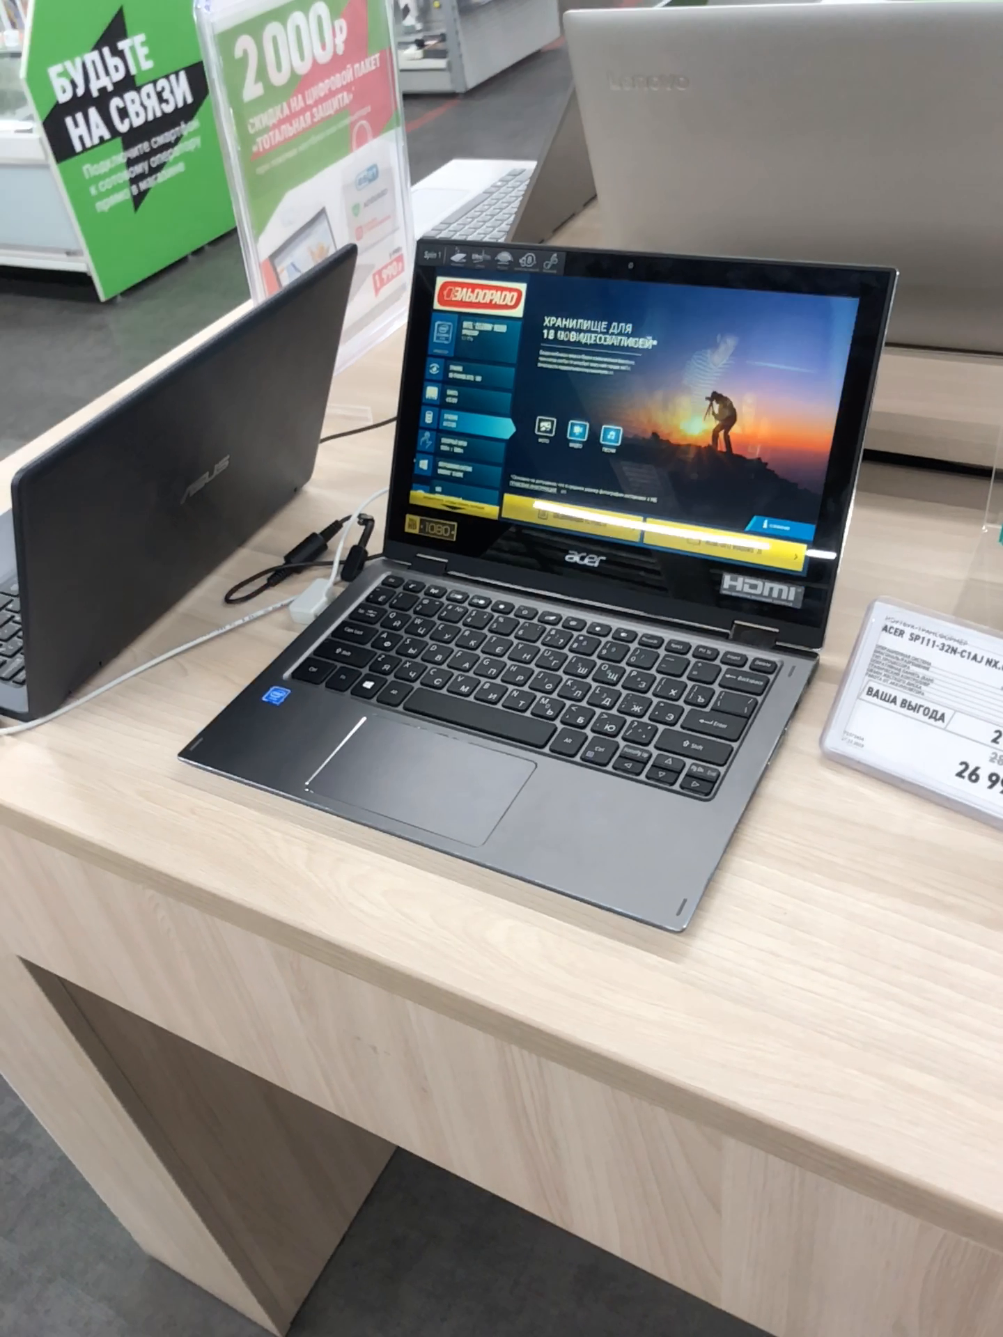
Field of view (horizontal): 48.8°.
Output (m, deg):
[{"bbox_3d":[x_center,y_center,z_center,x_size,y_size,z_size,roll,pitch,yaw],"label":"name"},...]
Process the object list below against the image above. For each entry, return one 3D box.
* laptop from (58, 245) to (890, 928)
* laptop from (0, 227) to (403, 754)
[{"bbox_3d":[0.012,-0.076,0.579,0.287,0.168,0.304,14,44,26],"label":"laptop"},{"bbox_3d":[-0.270,-0.136,0.700,0.287,0.174,0.276,14,45,26],"label":"laptop"}]
